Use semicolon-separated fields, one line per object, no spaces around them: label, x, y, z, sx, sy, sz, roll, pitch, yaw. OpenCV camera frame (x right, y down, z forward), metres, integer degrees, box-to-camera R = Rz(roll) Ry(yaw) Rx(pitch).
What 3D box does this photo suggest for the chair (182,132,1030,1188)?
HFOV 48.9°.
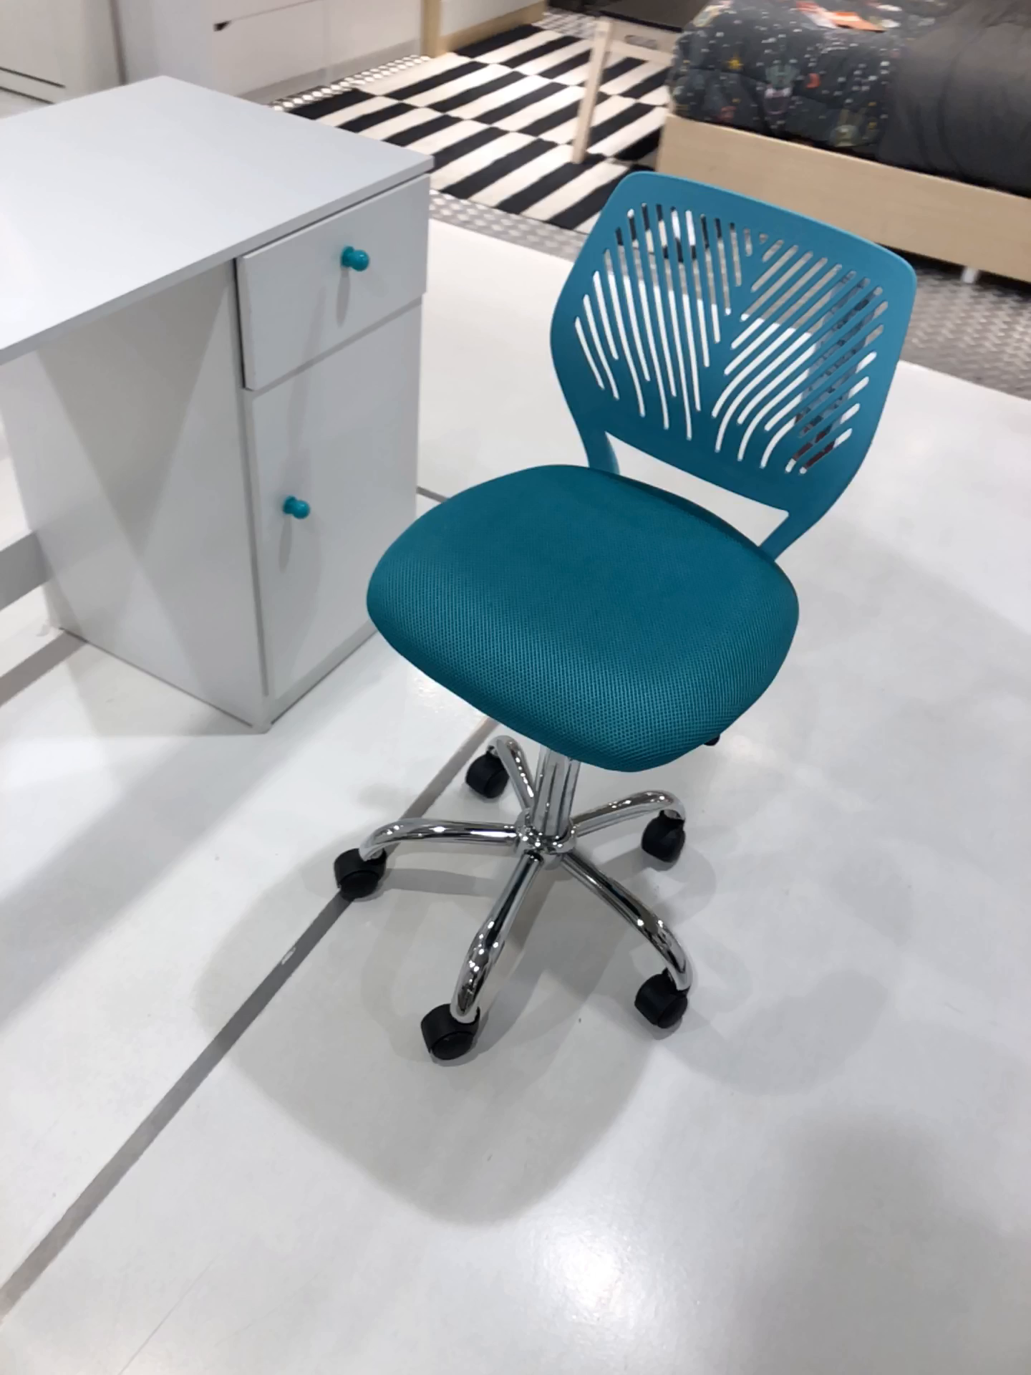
chair;0.072;-0.027;1.161;0.481;0.804;0.533;29;46;23
